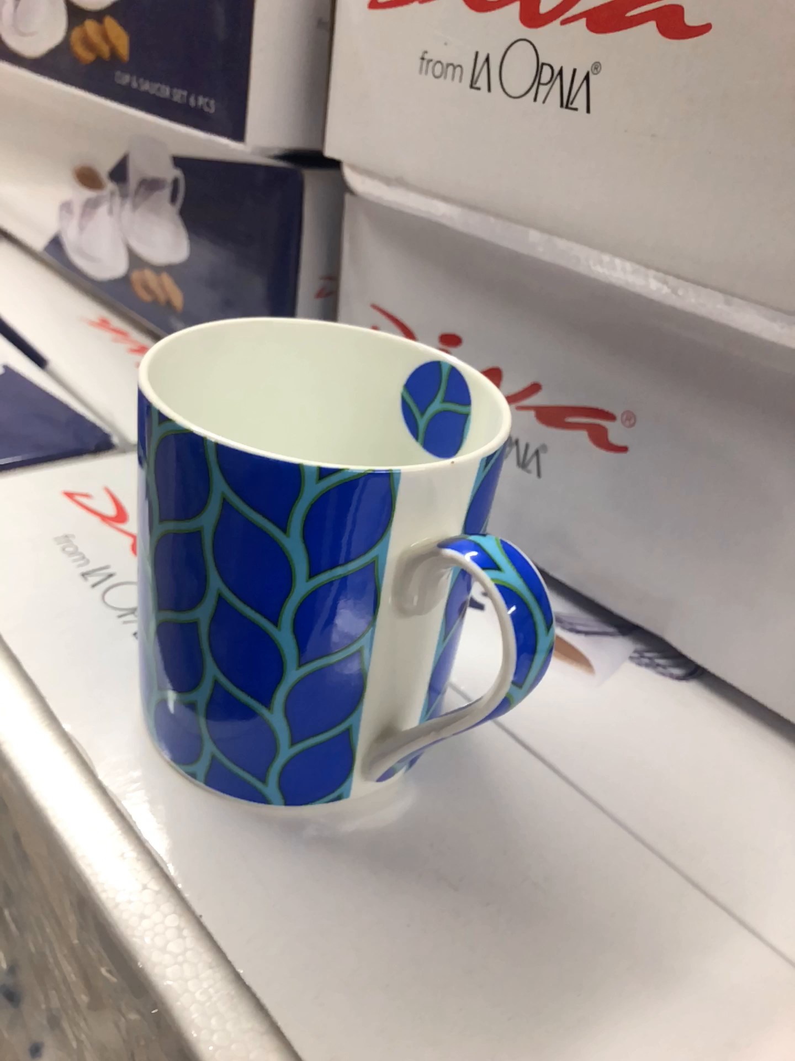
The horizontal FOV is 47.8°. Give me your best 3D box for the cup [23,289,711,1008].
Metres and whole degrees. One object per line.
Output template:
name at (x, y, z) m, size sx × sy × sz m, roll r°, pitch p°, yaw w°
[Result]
cup at (-0.016, 0.011, 0.203) m, size 0.080 × 0.089 × 0.120 m, roll -20°, pitch 41°, yaw -39°
